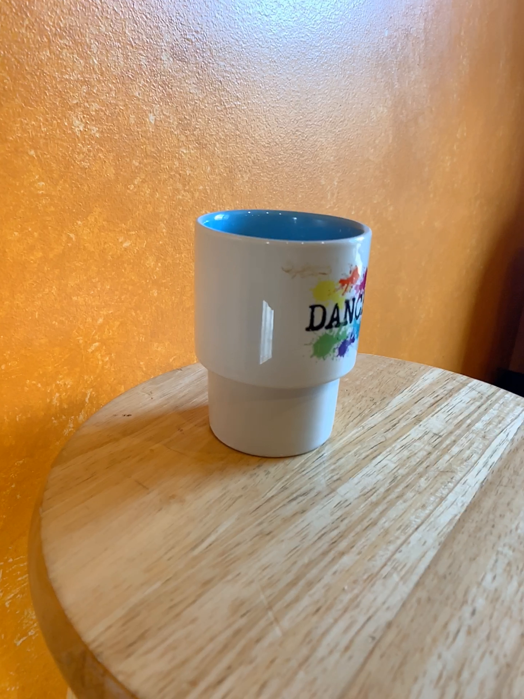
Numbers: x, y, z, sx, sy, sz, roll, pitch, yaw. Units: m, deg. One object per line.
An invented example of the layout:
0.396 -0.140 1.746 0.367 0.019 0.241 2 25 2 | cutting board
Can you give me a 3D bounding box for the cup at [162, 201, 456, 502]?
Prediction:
0.023 -0.012 0.278 0.120 0.109 0.080 -17 30 -41 | cup
